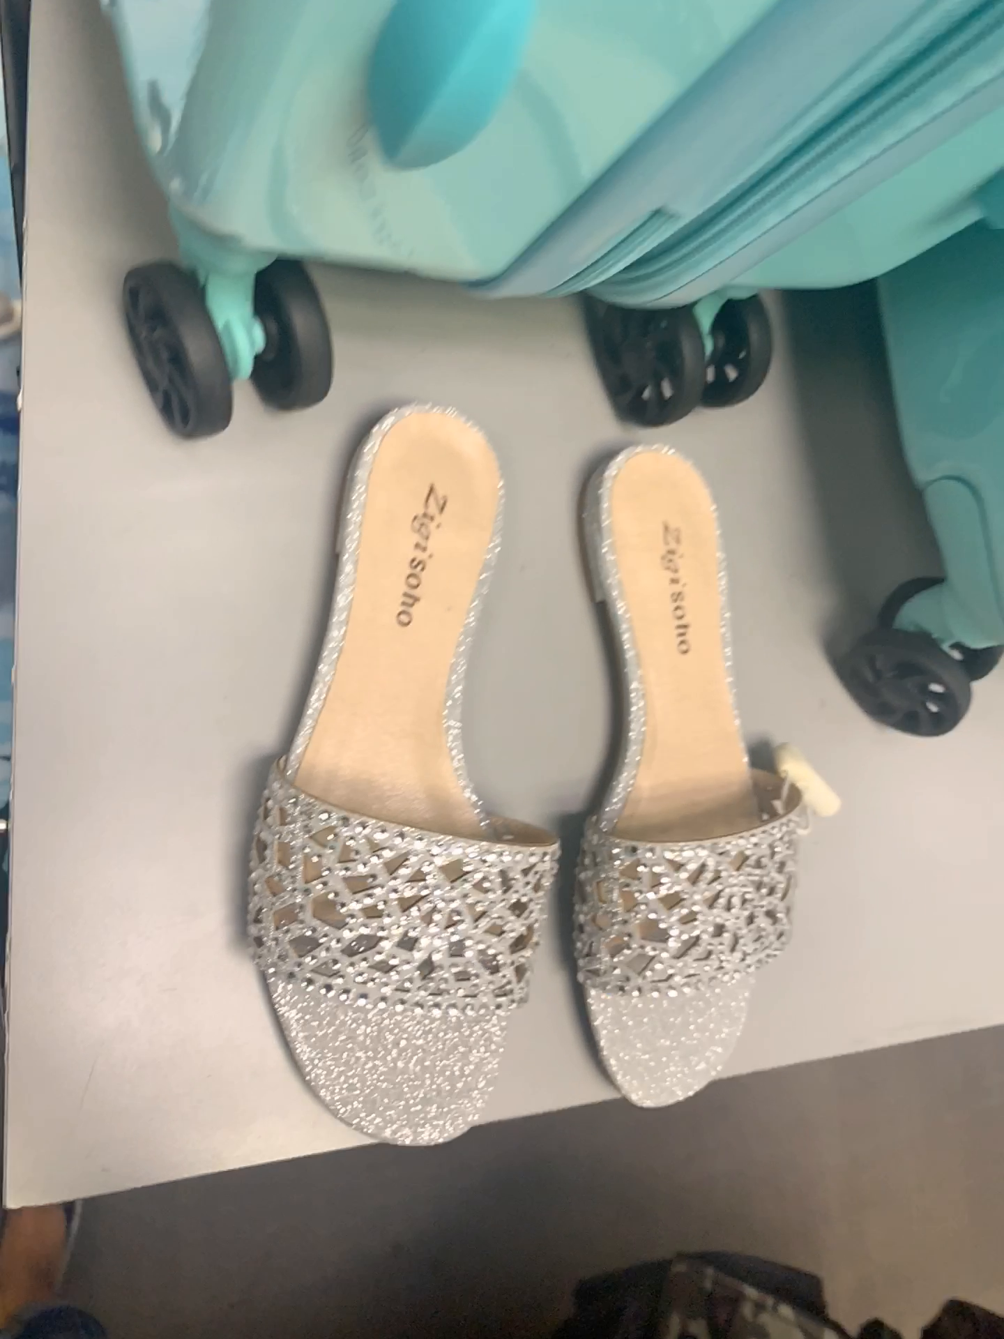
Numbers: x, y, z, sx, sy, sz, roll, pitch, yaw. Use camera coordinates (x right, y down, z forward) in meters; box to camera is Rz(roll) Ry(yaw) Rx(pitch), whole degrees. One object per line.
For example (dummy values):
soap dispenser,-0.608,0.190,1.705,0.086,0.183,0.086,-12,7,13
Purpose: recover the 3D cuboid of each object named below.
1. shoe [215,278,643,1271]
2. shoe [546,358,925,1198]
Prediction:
shoe,-0.019,0.025,0.303,0.100,0.061,0.243,6,80,-26
shoe,0.075,0.031,0.348,0.099,0.061,0.242,3,81,-26
